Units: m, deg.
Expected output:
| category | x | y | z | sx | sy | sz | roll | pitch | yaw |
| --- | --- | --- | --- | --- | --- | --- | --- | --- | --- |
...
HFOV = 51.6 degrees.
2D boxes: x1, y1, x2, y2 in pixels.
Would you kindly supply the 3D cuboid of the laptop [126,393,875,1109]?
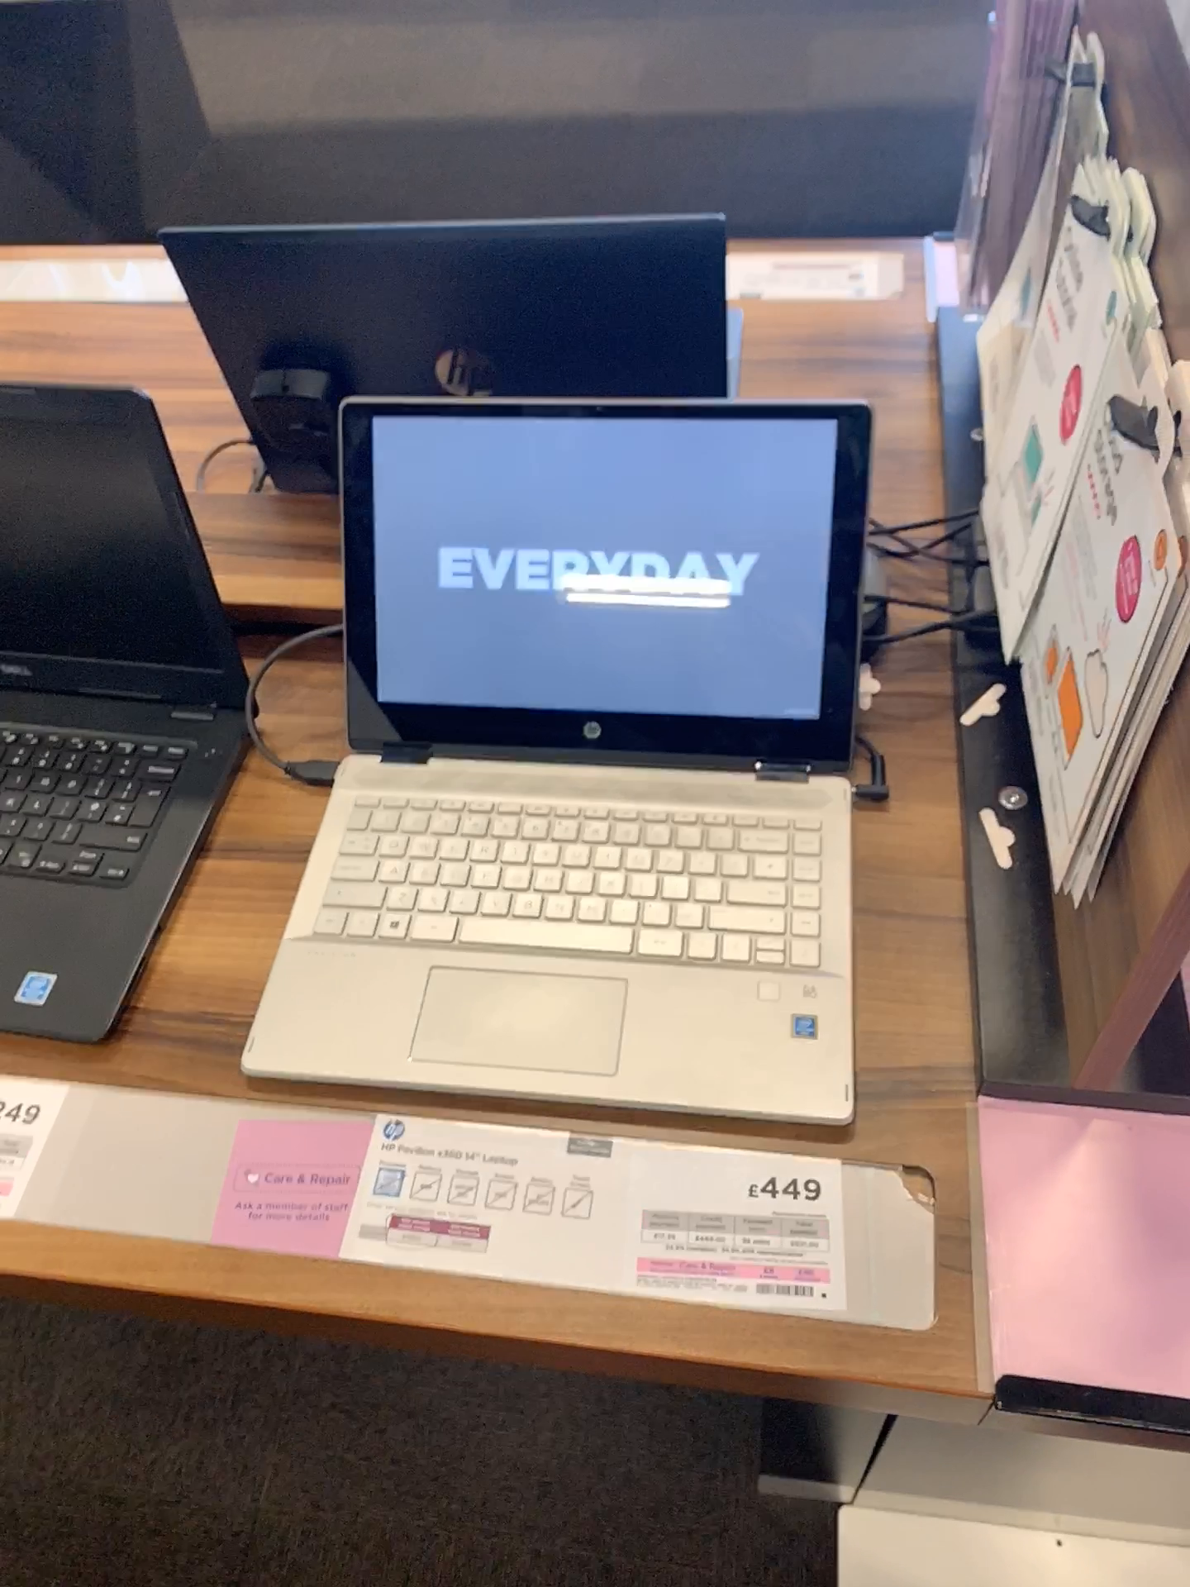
| category | x | y | z | sx | sy | sz | roll | pitch | yaw |
| --- | --- | --- | --- | --- | --- | --- | --- | --- | --- |
| laptop | -0.018 | -0.045 | 0.672 | 0.313 | 0.154 | 0.363 | 3 | 52 | 8 |
